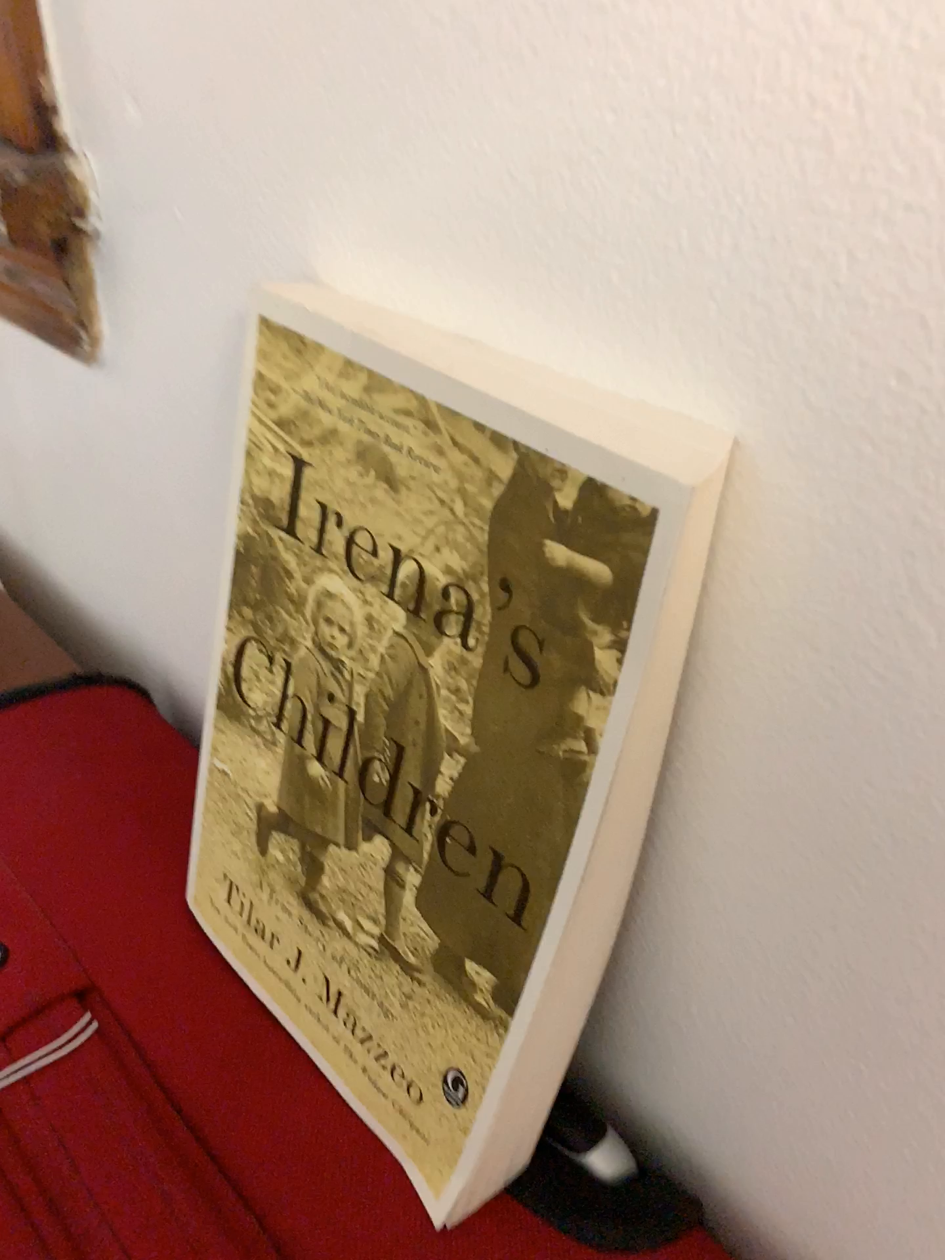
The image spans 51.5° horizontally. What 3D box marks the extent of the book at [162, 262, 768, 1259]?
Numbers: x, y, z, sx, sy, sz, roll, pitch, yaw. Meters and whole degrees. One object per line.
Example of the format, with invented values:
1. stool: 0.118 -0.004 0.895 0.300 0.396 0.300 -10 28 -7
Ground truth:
1. book: -0.031 0.034 0.273 0.030 0.228 0.171 -13 34 -41
